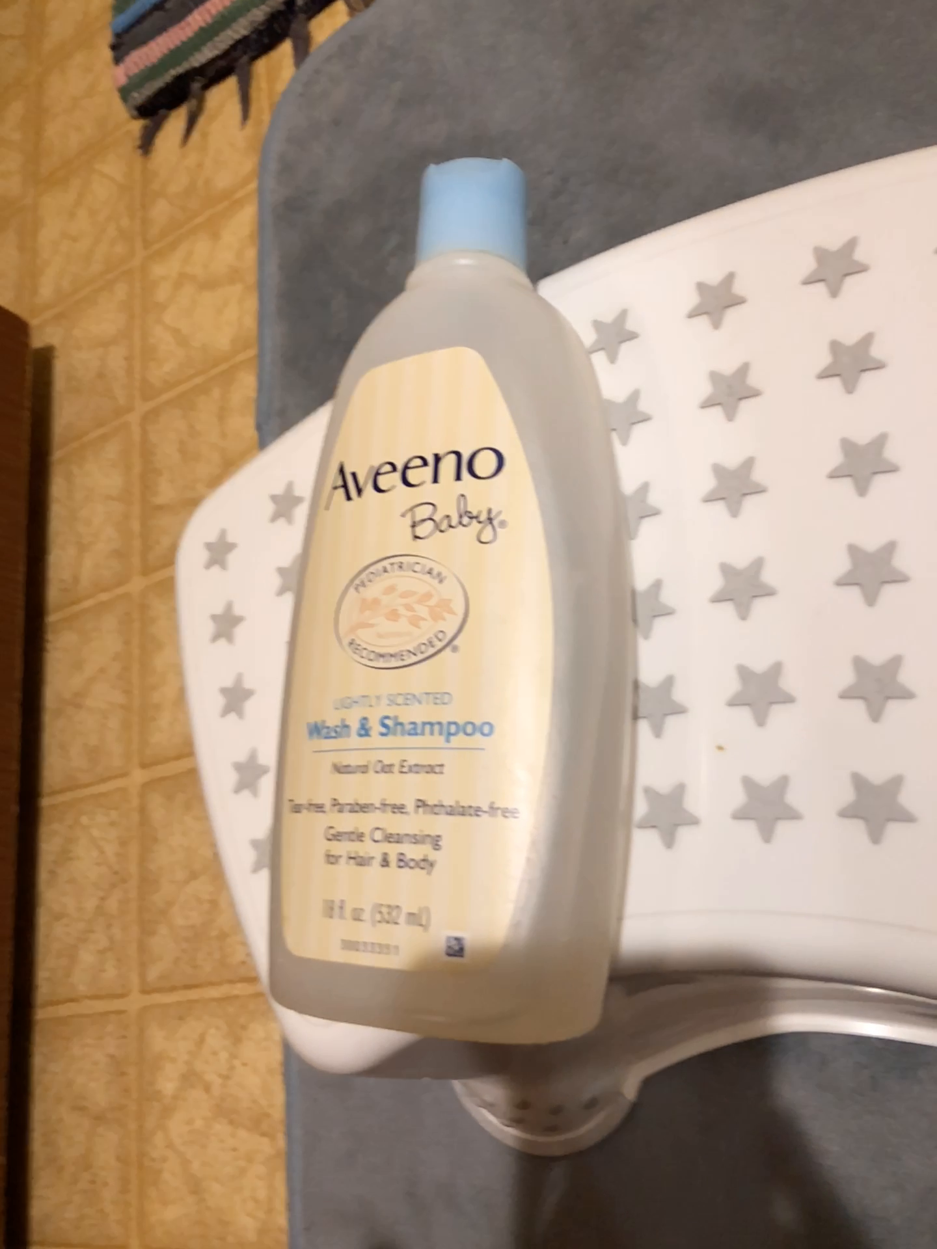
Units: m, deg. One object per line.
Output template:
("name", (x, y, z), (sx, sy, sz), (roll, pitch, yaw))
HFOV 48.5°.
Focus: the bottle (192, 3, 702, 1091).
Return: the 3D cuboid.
("bottle", (-0.001, -0.023, 0.260), (0.100, 0.040, 0.240), (-4, 73, 33))
